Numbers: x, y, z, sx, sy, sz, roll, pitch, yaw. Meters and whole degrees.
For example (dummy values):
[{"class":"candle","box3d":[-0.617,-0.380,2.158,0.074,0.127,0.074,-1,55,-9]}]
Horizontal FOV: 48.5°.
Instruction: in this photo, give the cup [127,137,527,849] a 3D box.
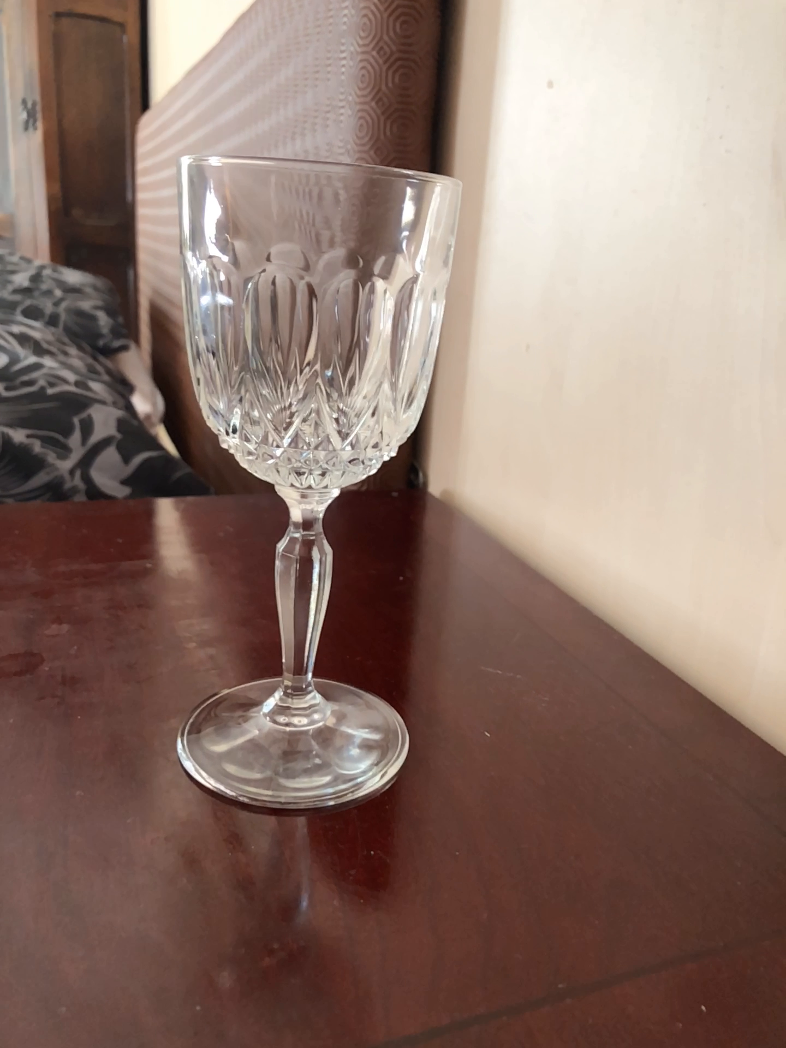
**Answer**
[{"class":"cup","box3d":[-0.031,-0.013,0.269,0.092,0.179,0.096,4,17,-1]}]
